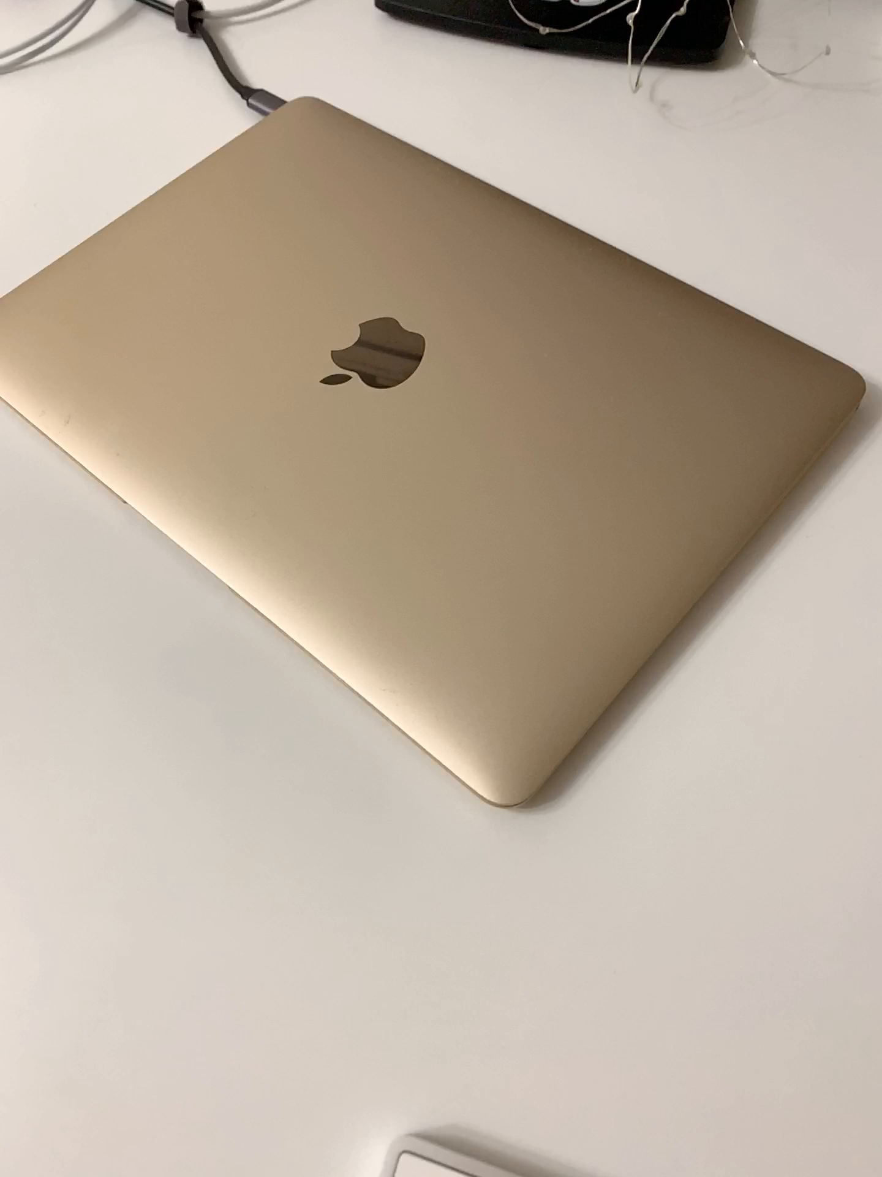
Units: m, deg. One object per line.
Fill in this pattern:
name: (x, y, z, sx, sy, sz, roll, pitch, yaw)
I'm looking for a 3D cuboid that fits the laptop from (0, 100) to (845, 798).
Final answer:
laptop: (-0.024, -0.076, 0.314, 0.255, 0.009, 0.175, 36, 69, 22)
